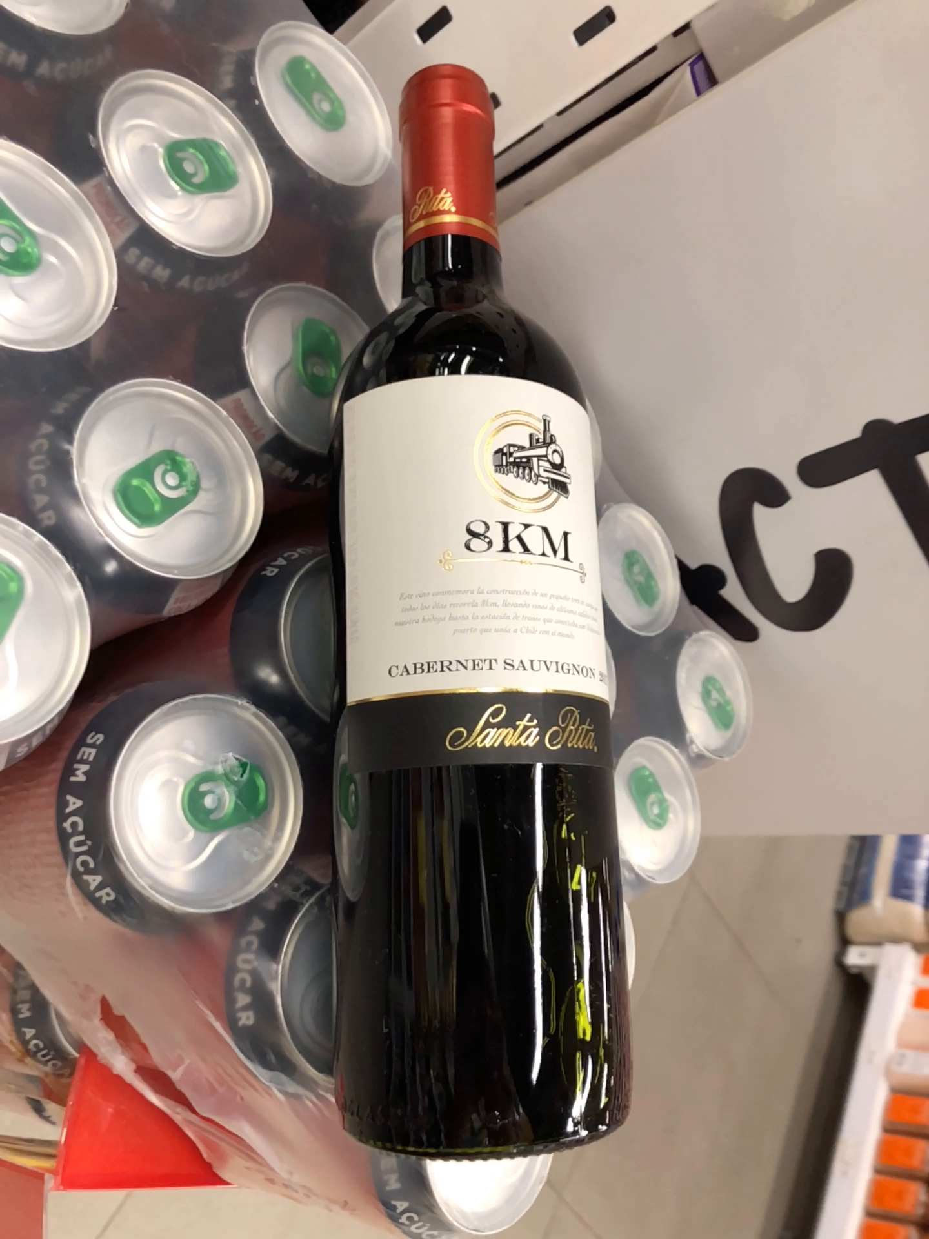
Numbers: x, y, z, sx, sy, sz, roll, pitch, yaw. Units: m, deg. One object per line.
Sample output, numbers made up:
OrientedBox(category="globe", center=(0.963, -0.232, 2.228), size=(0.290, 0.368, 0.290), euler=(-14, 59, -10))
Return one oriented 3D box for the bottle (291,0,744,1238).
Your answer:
OrientedBox(category="bottle", center=(0.007, -0.028, 0.278), size=(0.080, 0.070, 0.320), euler=(11, 71, -44))
